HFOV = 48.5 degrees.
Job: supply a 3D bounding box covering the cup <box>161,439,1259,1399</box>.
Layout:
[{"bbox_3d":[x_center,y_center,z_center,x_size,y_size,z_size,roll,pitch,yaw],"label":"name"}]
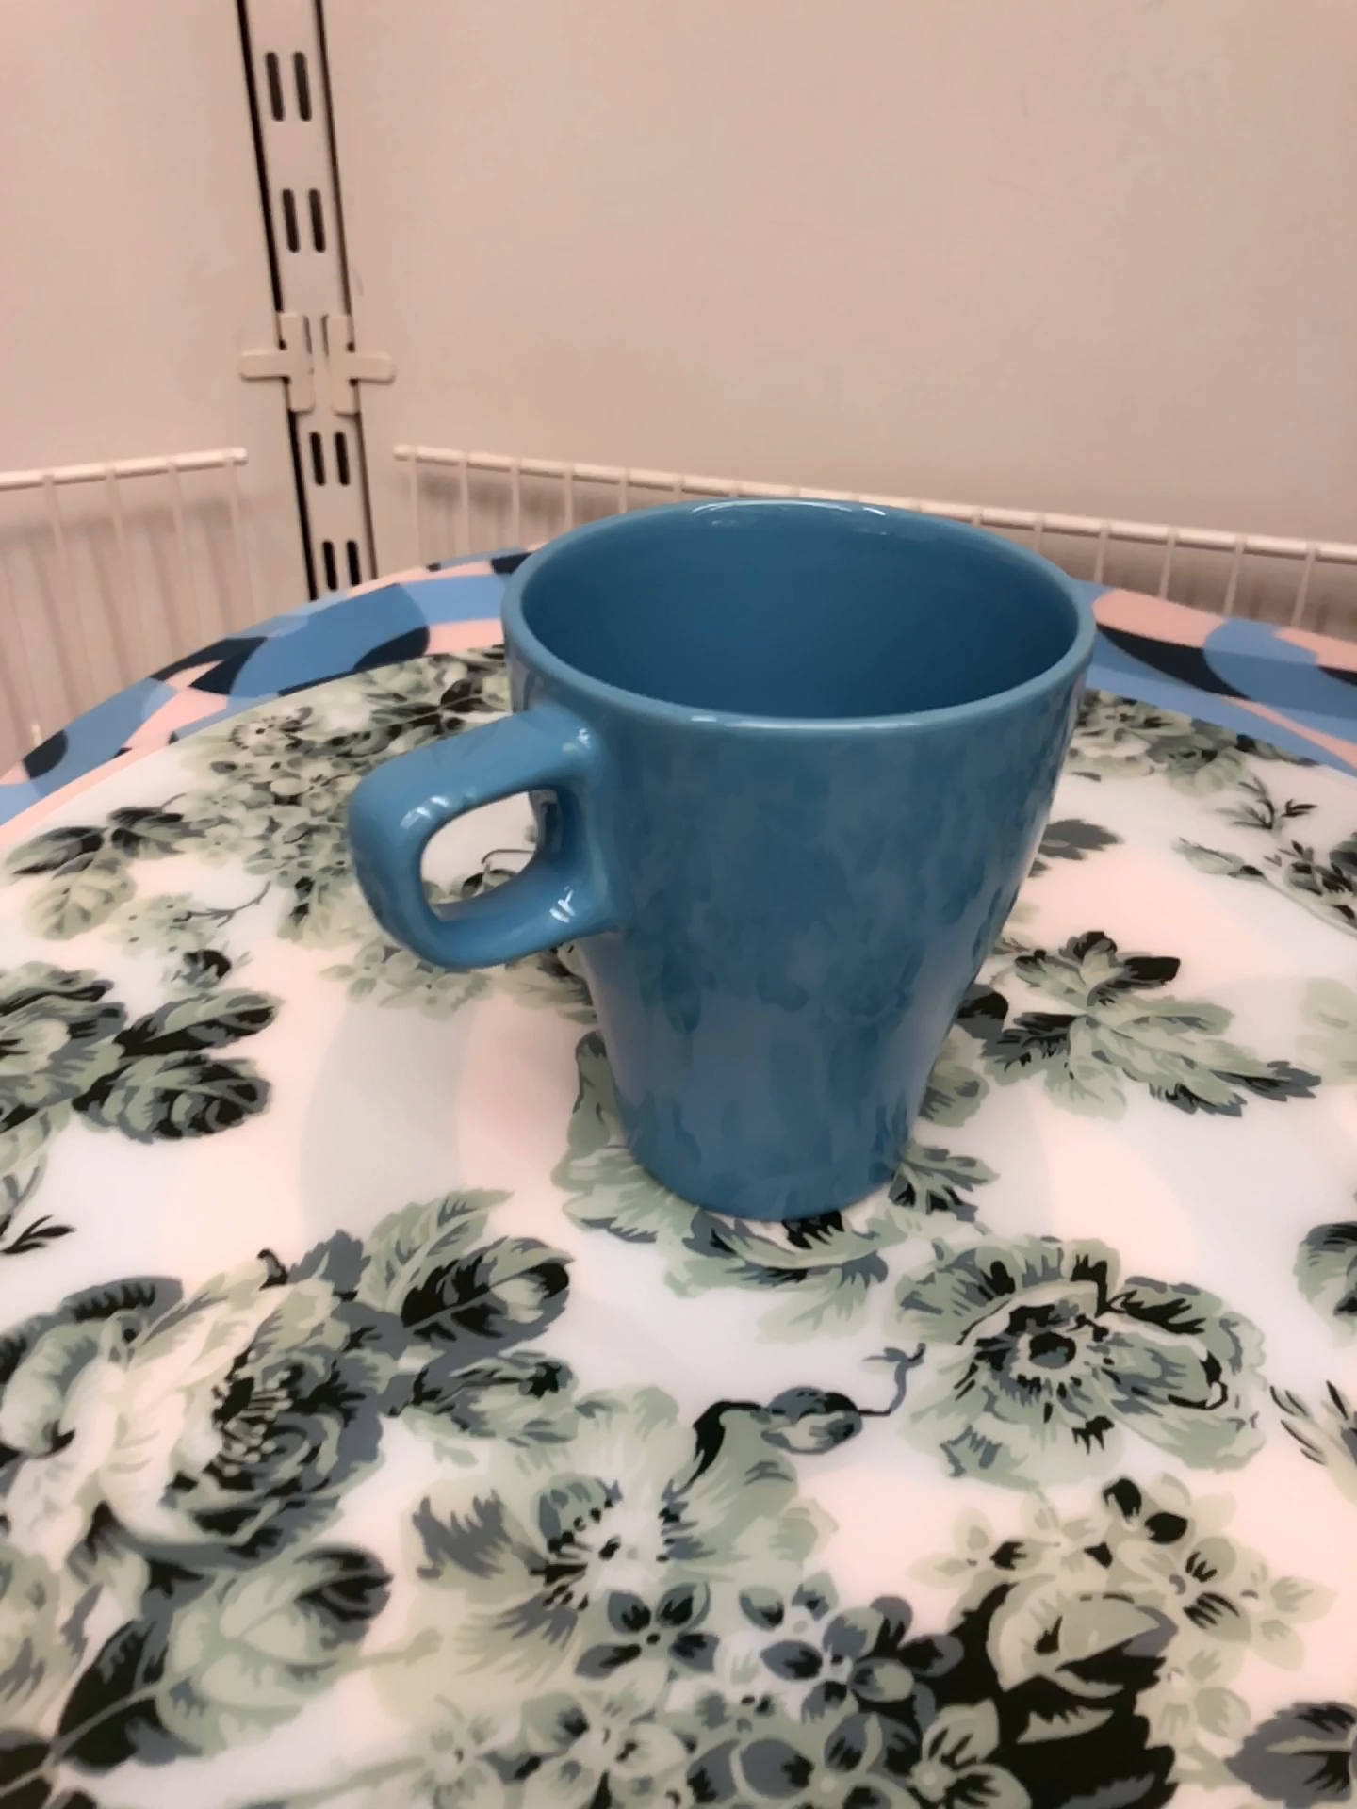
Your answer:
[{"bbox_3d":[0.006,-0.012,0.225,0.120,0.080,0.090,-23,37,-34],"label":"cup"}]
